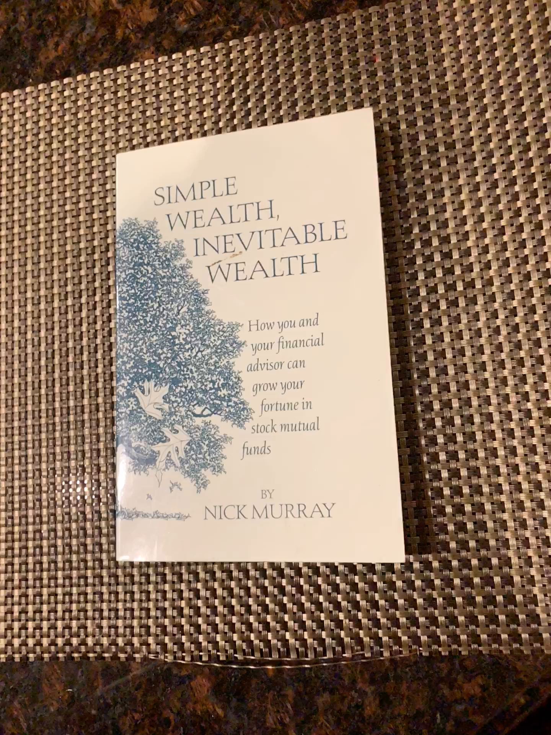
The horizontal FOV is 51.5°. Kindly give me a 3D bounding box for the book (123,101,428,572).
[{"bbox_3d":[-0.004,-0.014,0.278,0.141,0.021,0.210,-3,83,14],"label":"book"}]
